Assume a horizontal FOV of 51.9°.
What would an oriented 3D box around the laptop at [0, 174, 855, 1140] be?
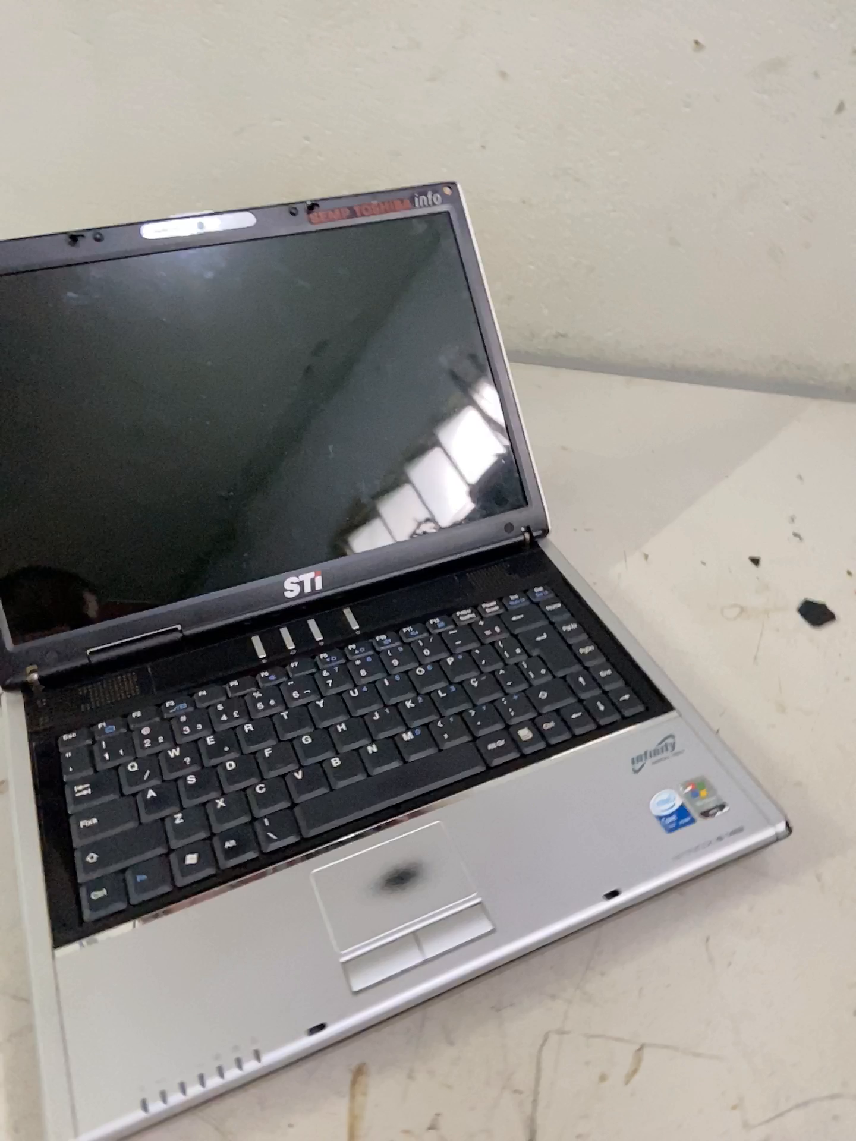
[{"bbox_3d":[-0.067,-0.023,0.431,0.325,0.167,0.387,-16,45,-18],"label":"laptop"}]
